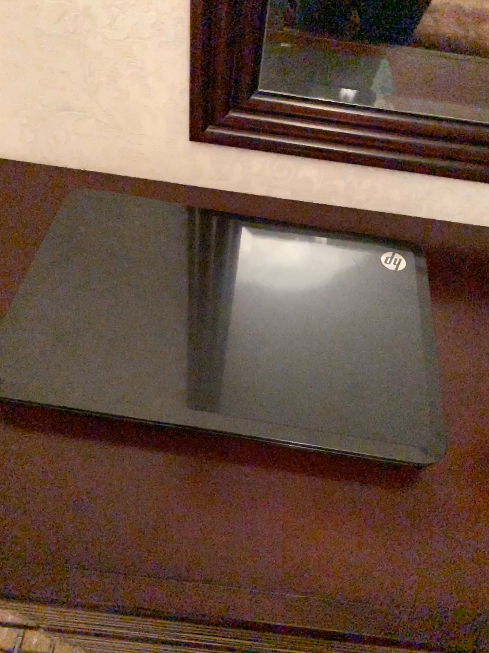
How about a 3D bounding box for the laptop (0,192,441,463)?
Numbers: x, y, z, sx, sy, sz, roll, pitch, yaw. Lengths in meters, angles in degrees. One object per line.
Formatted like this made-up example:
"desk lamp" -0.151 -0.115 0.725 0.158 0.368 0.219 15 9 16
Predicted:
"laptop" -0.007 -0.013 0.437 0.341 0.007 0.224 9 54 -3
